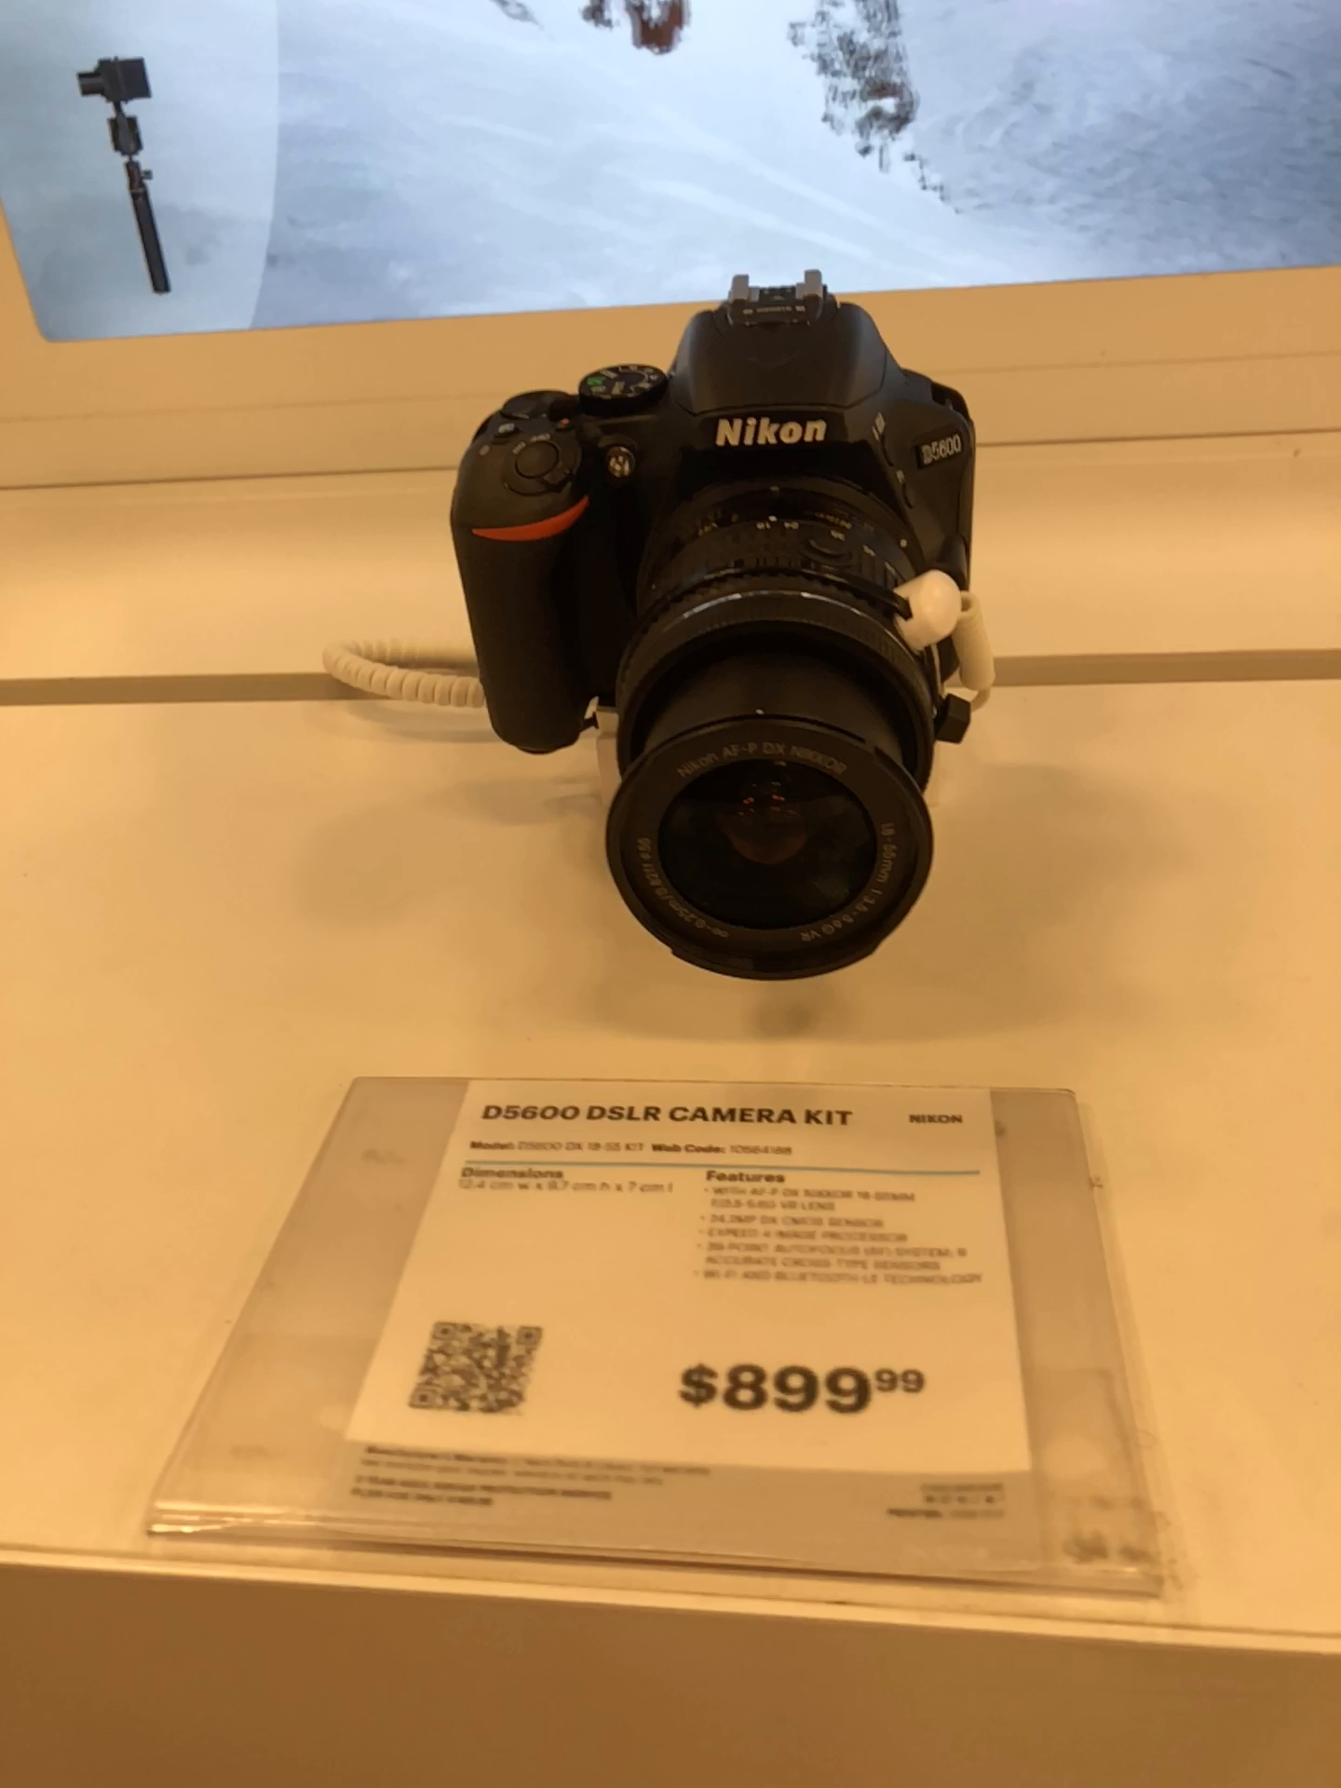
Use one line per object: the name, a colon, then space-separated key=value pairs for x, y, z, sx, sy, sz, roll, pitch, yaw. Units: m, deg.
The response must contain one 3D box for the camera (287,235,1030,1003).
camera: x=0.007 y=-0.074 z=0.342 sx=0.120 sy=0.090 sz=0.191 roll=-1 pitch=38 yaw=6
